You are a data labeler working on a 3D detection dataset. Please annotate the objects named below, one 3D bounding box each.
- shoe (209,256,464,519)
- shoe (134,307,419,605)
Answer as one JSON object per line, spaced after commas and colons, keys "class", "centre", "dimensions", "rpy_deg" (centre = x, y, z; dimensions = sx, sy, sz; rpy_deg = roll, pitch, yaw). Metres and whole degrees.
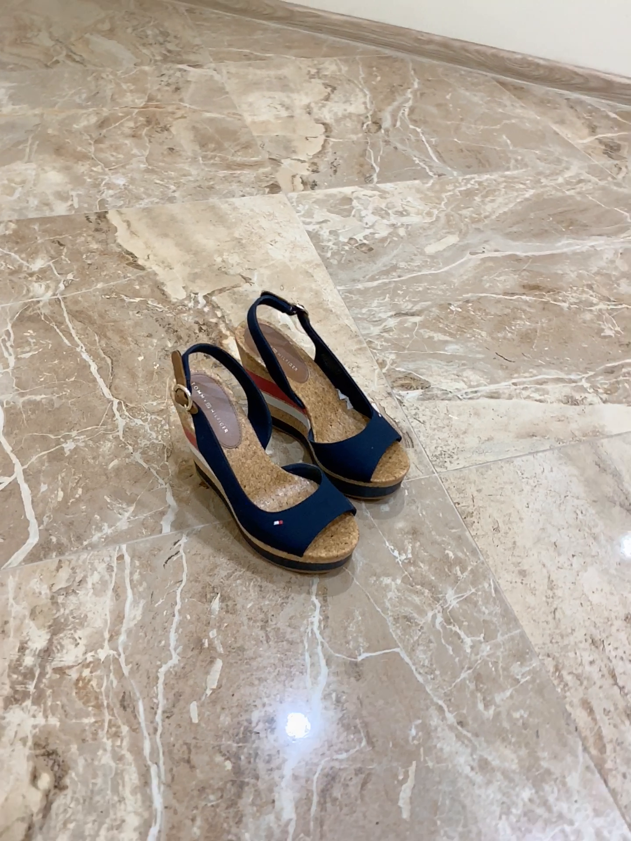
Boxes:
{"class": "shoe", "centre": [0.010, -0.034, 0.610], "dimensions": [0.210, 0.145, 0.090], "rpy_deg": [32, 52, 23]}
{"class": "shoe", "centre": [-0.038, 0.026, 0.546], "dimensions": [0.210, 0.145, 0.090], "rpy_deg": [32, 52, 23]}
